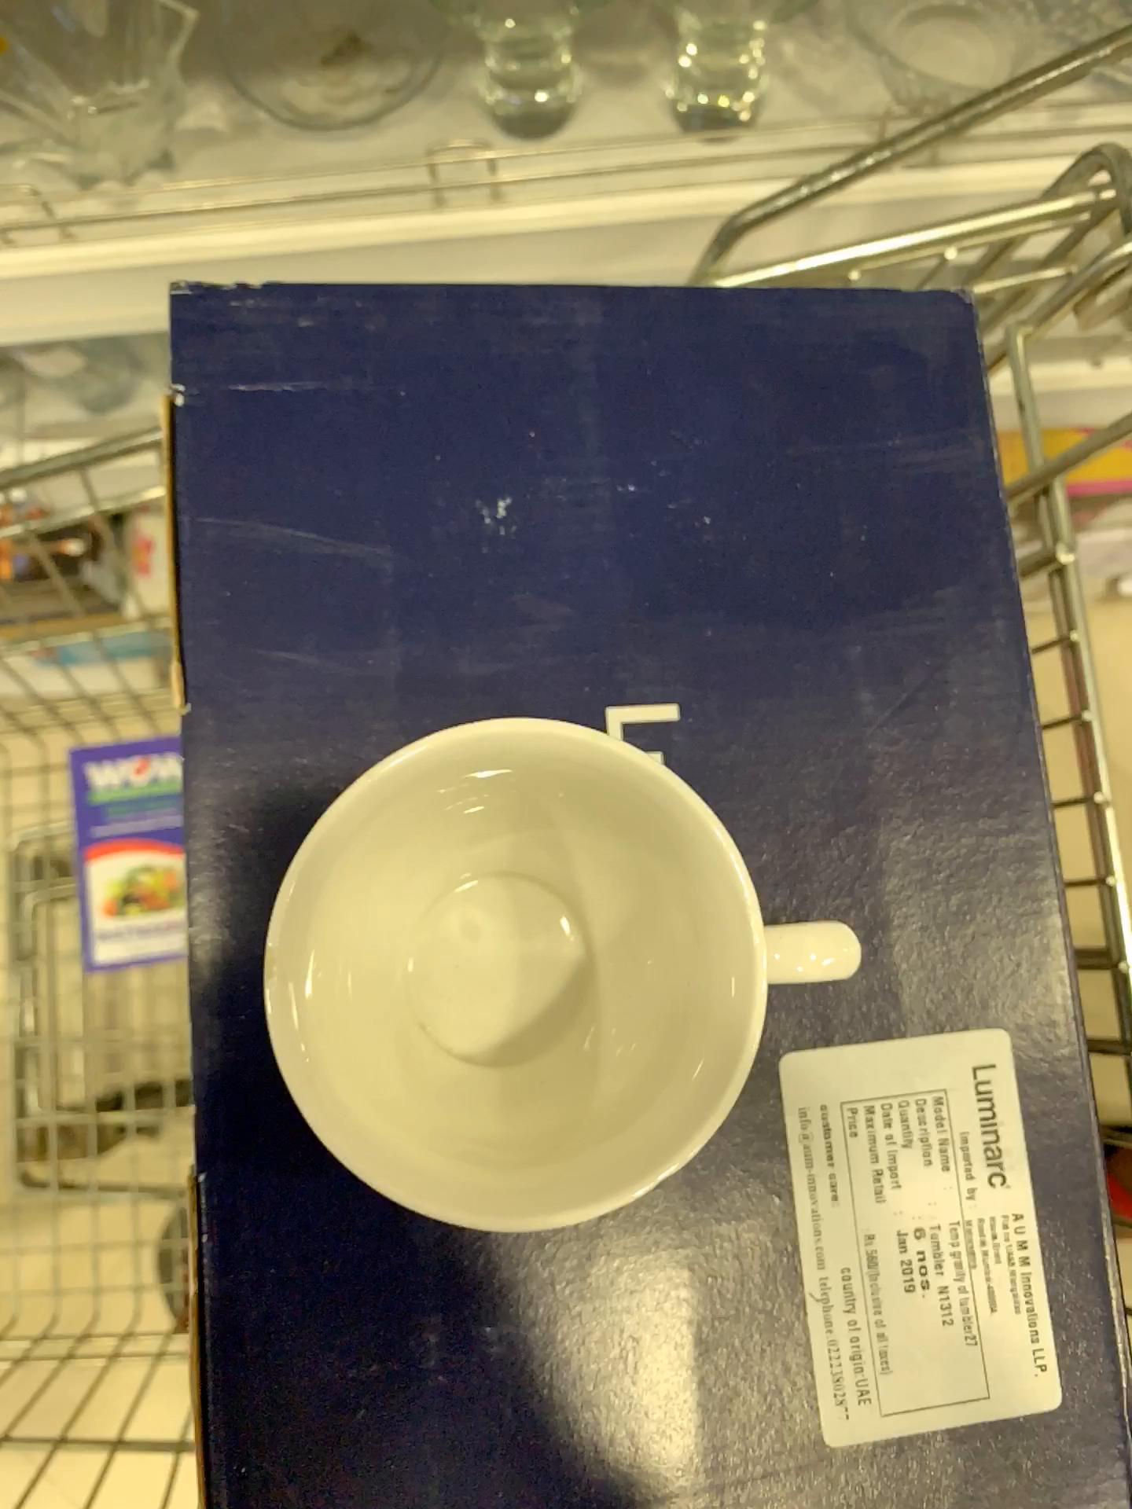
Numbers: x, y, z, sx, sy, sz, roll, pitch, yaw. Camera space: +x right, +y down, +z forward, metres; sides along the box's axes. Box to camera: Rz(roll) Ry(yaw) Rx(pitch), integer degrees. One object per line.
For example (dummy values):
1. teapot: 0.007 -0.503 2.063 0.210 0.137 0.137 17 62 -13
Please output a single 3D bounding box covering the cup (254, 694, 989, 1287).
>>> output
1. cup: 0.005 0.031 0.169 0.090 0.040 0.070 -1 81 -4
